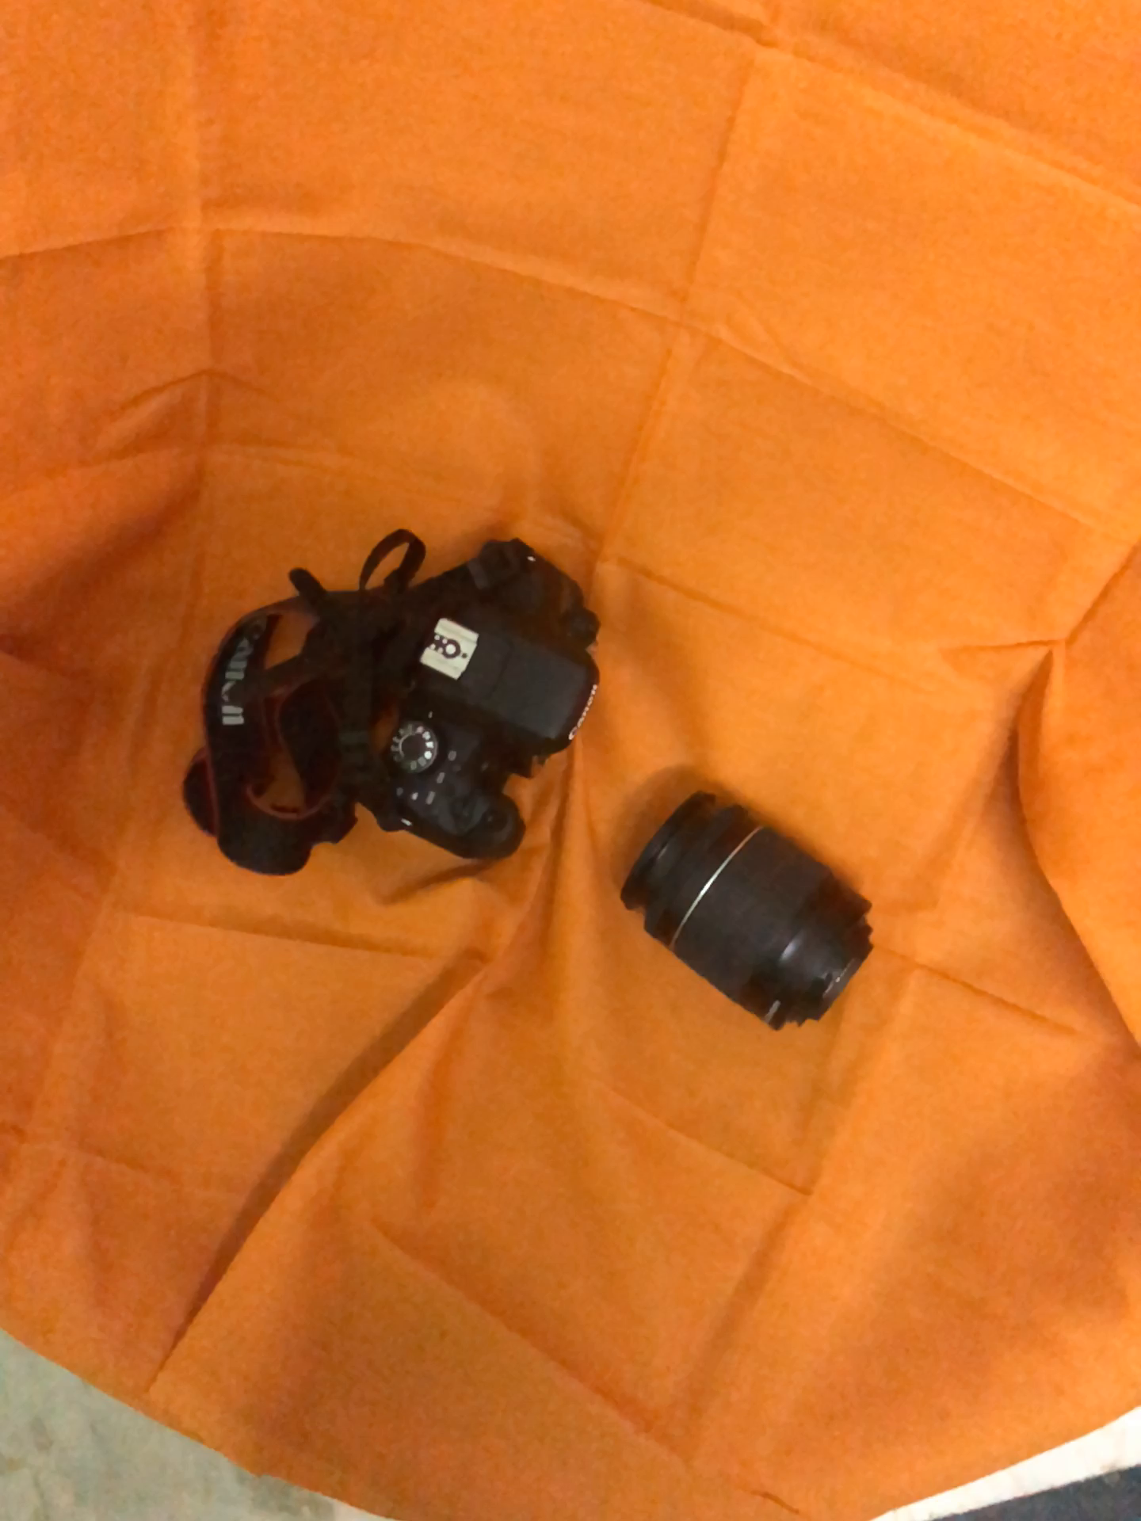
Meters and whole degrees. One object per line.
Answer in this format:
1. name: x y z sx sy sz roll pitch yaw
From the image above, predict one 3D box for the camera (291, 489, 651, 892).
1. camera: -0.037 -0.025 0.529 0.092 0.072 0.133 25 86 7
